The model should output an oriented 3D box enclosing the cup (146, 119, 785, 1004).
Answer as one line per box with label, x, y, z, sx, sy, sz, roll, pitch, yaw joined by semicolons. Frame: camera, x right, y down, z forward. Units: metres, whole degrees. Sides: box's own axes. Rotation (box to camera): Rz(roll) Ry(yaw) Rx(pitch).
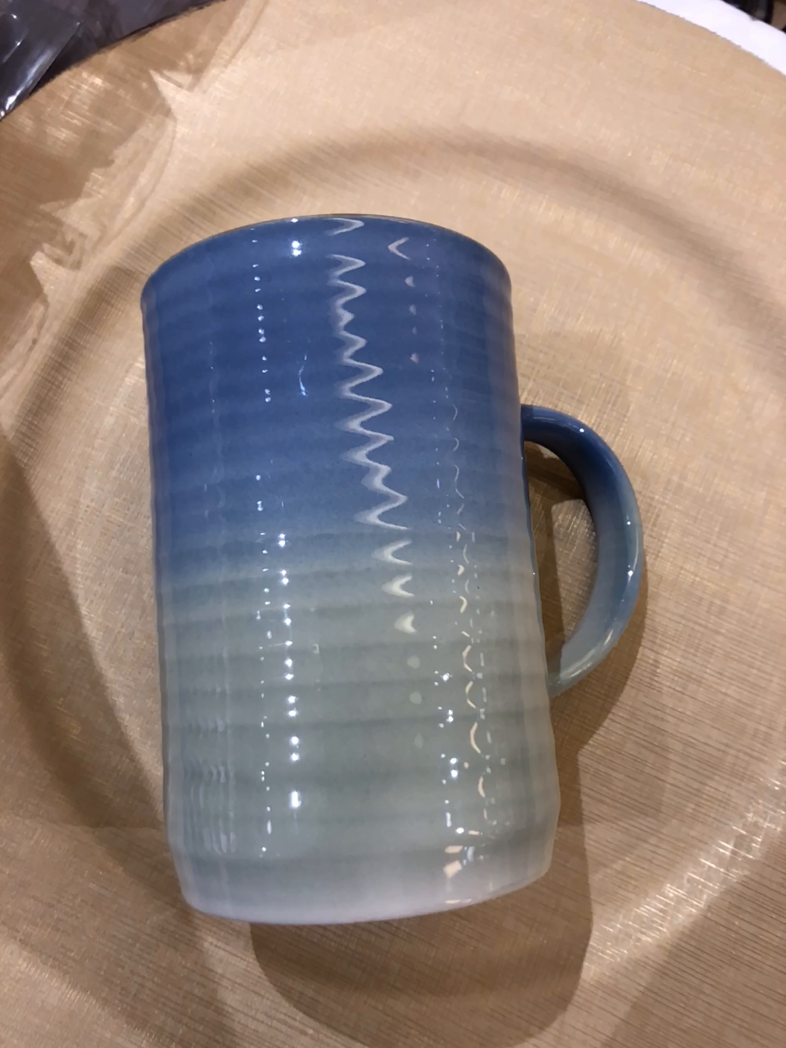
cup;0.014;0.004;0.184;0.120;0.060;0.140;-1;76;-19
